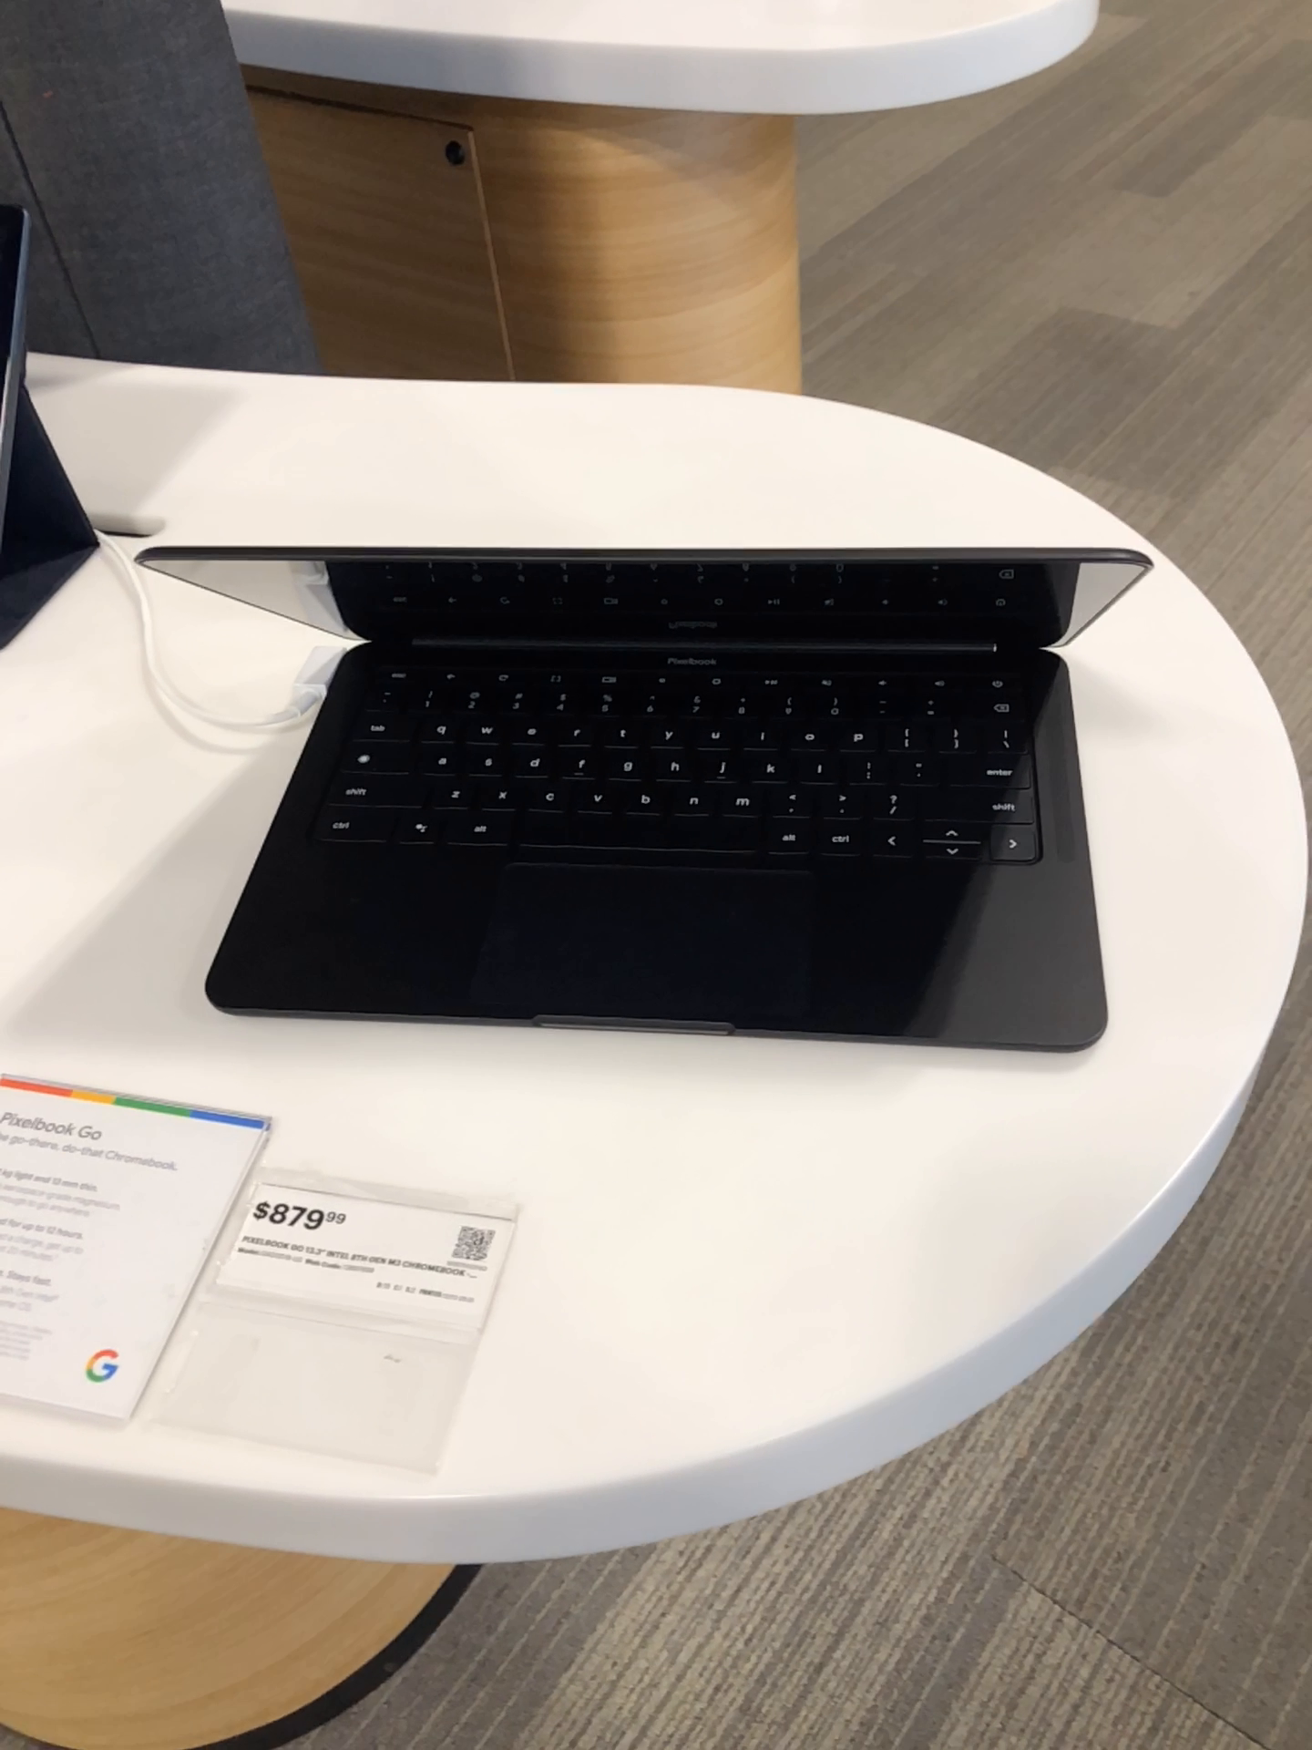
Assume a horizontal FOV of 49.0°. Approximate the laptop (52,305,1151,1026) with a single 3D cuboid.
[{"bbox_3d":[0.001,-0.075,0.480,0.278,0.146,0.192,2,46,6],"label":"laptop"}]
